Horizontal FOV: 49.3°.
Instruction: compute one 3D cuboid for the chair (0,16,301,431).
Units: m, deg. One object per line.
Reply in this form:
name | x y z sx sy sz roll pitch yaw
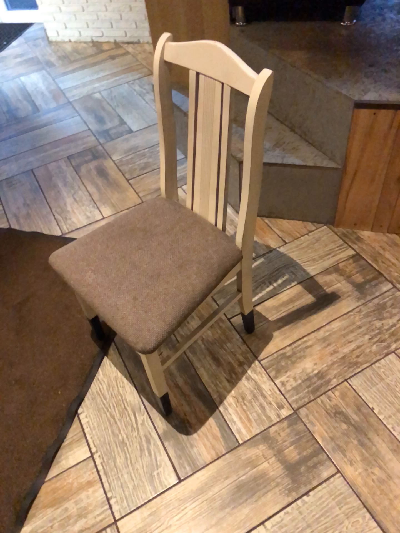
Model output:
chair | -0.117 -0.075 1.220 0.520 0.916 0.480 -36 54 -25
